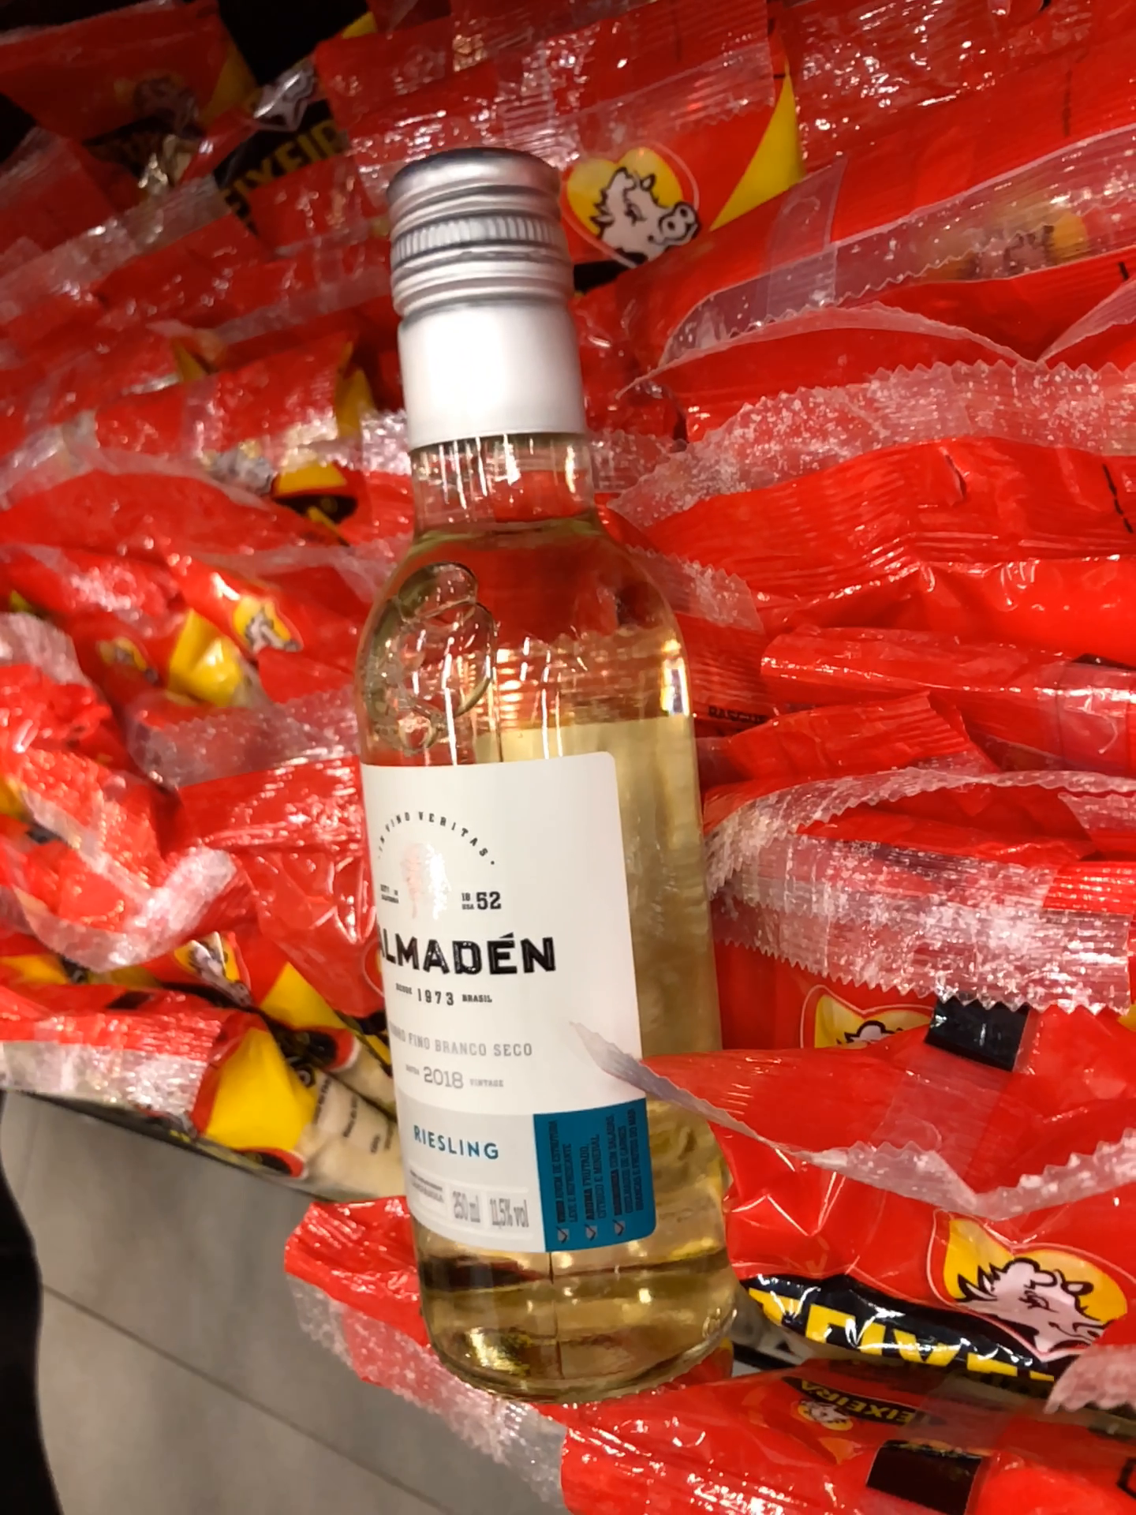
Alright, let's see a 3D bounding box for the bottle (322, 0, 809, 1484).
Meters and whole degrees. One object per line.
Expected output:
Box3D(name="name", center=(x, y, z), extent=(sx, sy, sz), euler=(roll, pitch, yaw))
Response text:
Box3D(name="bottle", center=(0.000, -0.003, 0.210), extent=(0.060, 0.040, 0.210), euler=(0, 94, 40))
